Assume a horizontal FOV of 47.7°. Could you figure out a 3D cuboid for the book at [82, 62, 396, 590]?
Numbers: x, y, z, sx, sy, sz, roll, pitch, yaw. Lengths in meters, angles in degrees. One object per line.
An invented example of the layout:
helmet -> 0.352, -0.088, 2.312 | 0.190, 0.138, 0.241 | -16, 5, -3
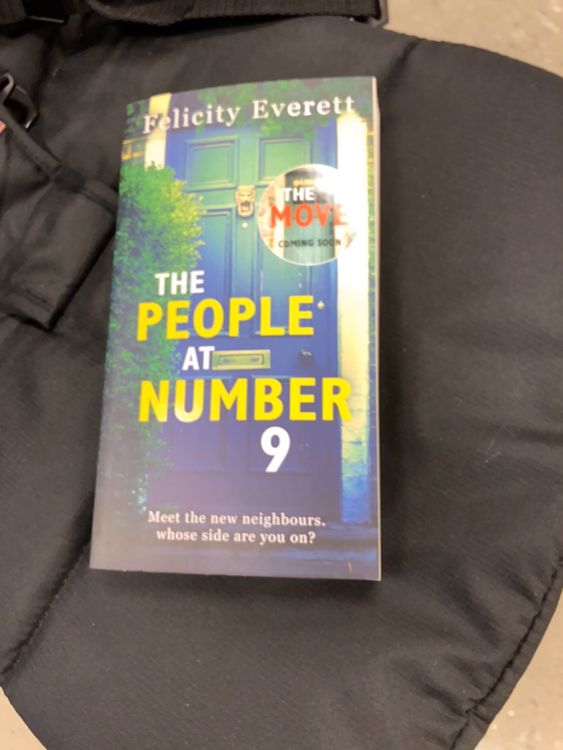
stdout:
book -> -0.014, -0.021, 0.250 | 0.110, 0.030, 0.195 | -1, 81, 7
